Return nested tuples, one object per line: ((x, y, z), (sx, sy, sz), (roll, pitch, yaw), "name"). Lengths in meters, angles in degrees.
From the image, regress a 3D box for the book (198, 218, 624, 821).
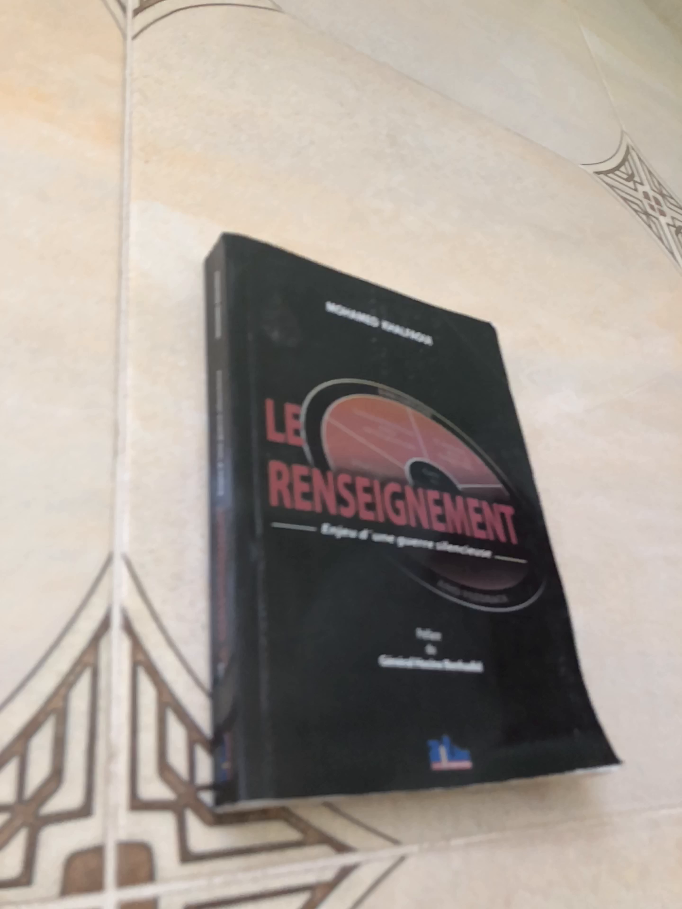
((0.022, 0.021, 0.286), (0.146, 0.037, 0.201), (12, 58, -32), "book")
